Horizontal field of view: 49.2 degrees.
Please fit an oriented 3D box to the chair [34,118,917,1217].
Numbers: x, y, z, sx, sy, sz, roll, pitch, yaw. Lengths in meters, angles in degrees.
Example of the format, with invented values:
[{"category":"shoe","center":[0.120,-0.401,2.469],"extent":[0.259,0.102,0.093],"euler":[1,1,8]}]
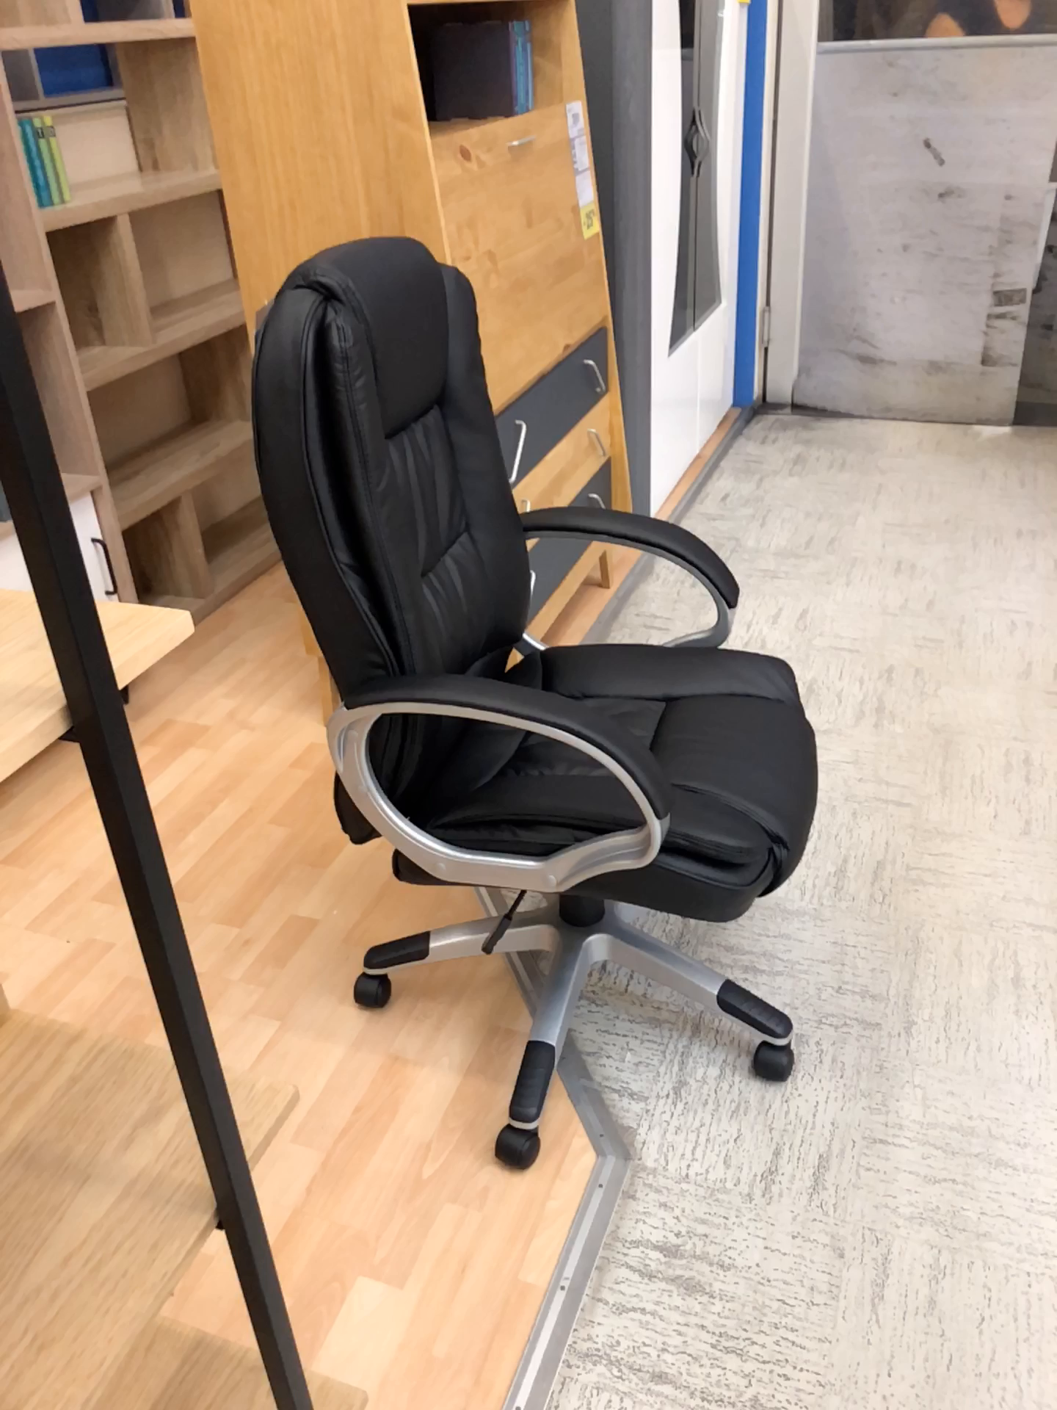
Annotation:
[{"category":"chair","center":[0.046,-0.094,1.440],"extent":[0.679,1.064,0.765],"euler":[3,30,12]}]
